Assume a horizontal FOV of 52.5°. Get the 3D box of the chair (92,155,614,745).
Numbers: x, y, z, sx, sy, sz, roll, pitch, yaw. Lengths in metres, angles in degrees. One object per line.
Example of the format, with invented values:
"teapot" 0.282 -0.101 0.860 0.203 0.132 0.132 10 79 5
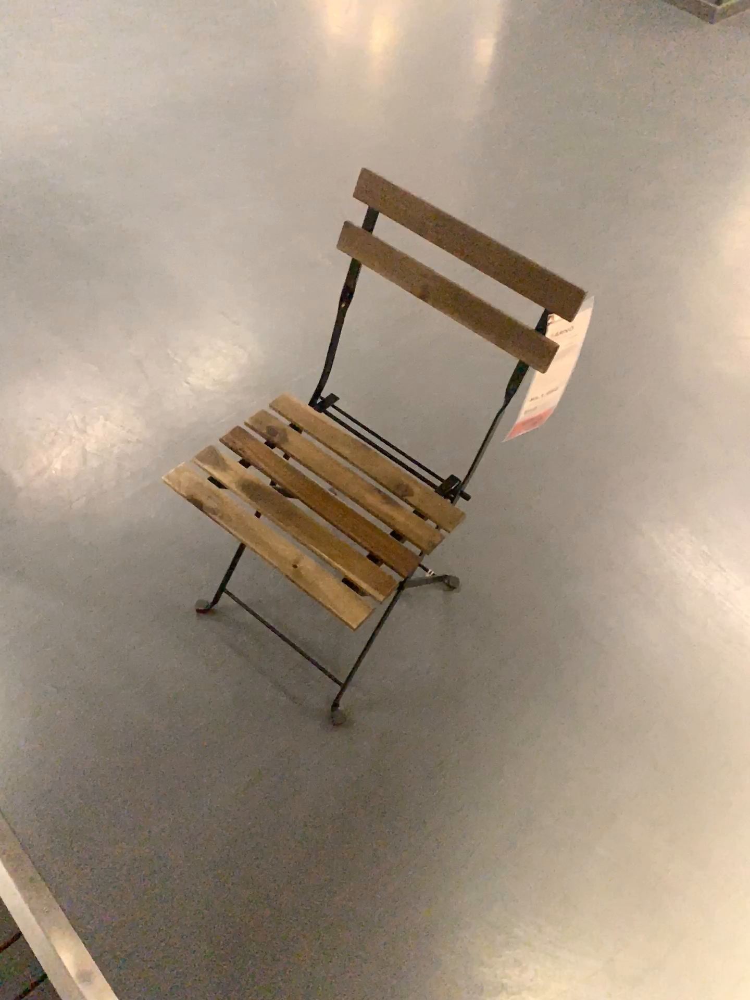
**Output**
"chair" -0.040 -0.044 1.229 0.430 0.698 0.501 35 58 17
